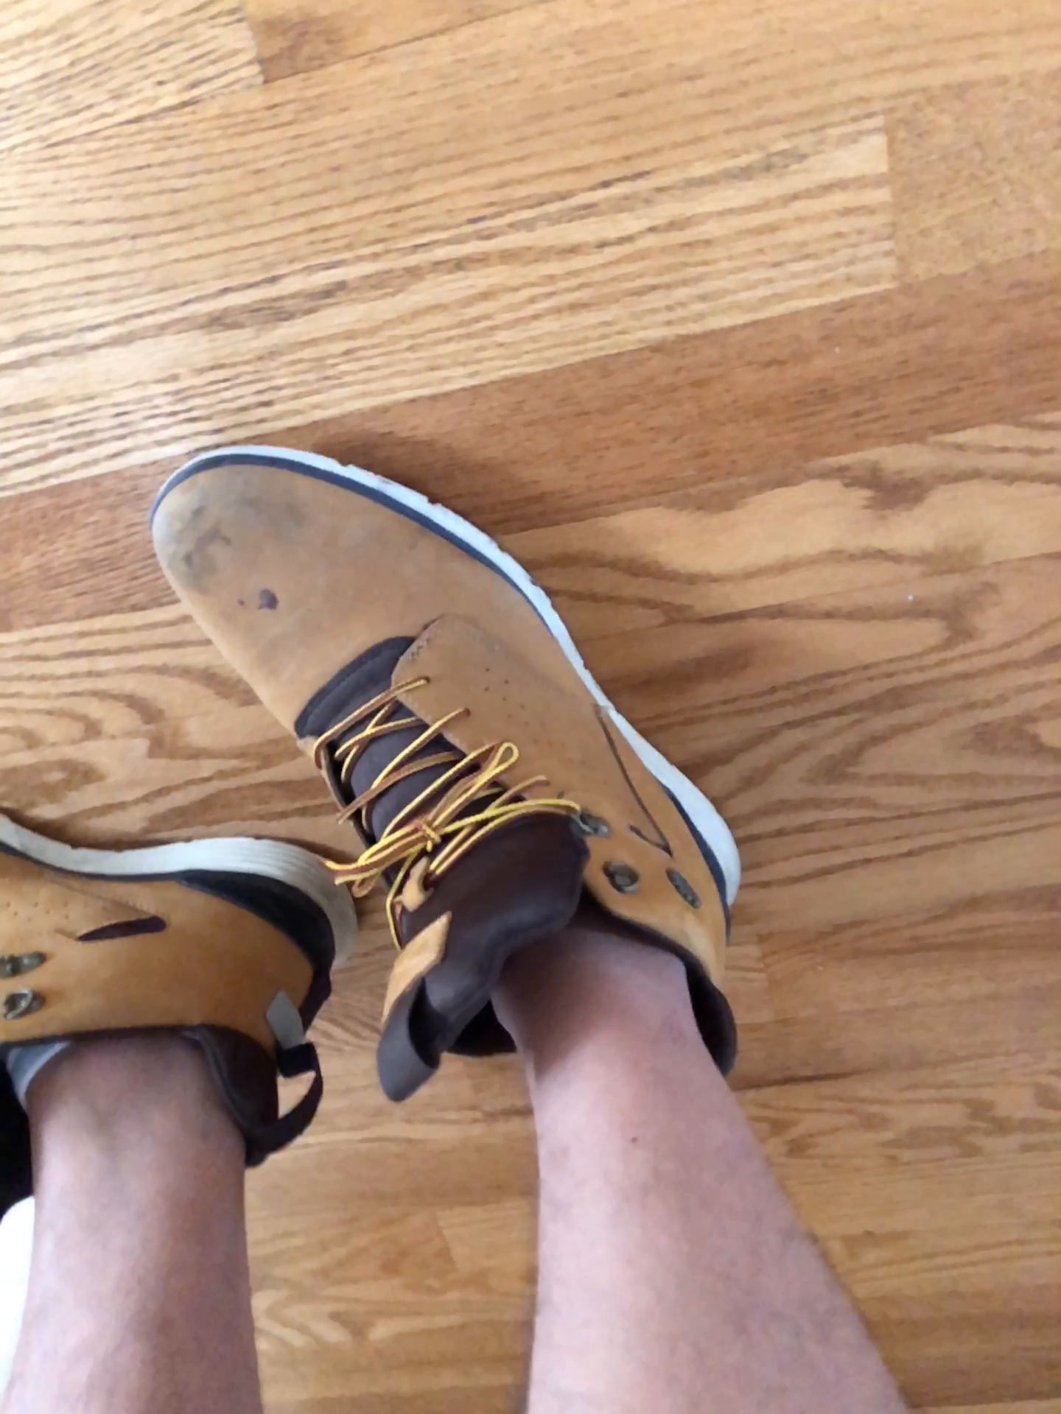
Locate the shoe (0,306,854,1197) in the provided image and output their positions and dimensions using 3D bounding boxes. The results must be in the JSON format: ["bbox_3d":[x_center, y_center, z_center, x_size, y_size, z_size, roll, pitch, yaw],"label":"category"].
[{"bbox_3d":[-0.043,0.027,0.440,0.300,0.169,0.130,36,118,-27],"label":"shoe"}]

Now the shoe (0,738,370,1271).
[{"bbox_3d":[-0.254,0.127,0.548,0.320,0.140,0.130,8,119,11],"label":"shoe"}]
